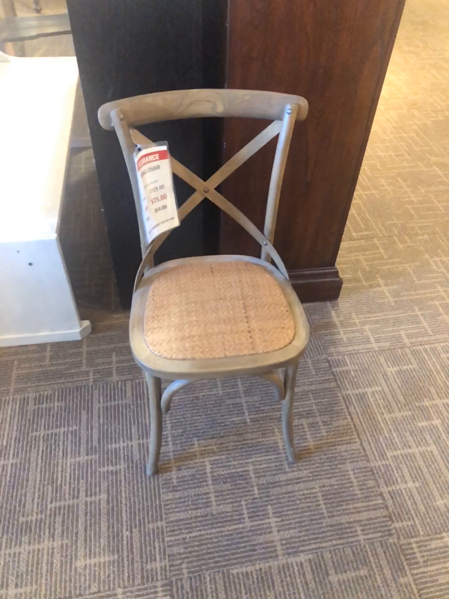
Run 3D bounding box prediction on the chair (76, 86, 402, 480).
[{"bbox_3d":[-0.014,-0.014,1.253,0.515,0.813,0.568,-3,46,-6],"label":"chair"}]
